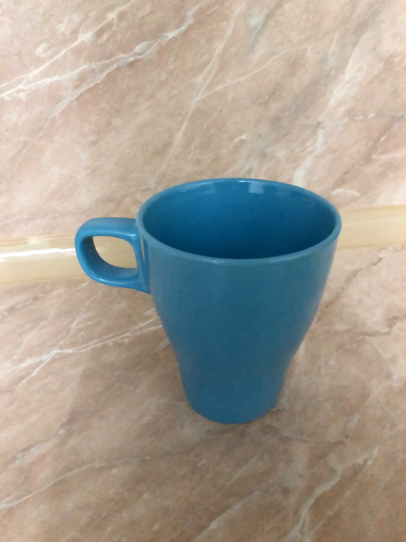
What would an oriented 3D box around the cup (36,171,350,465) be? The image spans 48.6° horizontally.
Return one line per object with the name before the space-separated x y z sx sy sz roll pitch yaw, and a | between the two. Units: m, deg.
cup | 0.003 0.014 0.212 0.111 0.089 0.086 7 32 12
